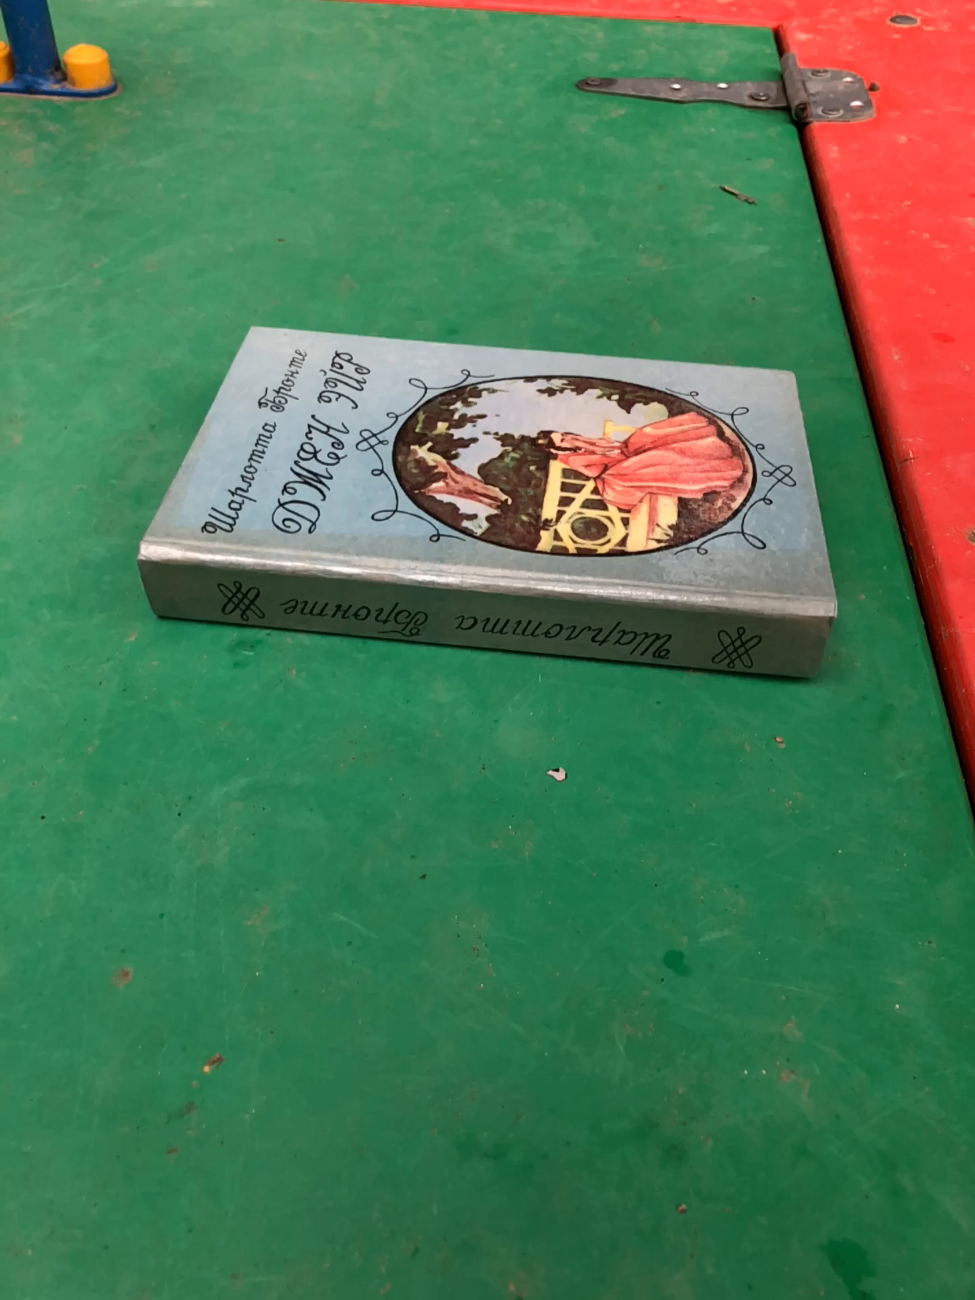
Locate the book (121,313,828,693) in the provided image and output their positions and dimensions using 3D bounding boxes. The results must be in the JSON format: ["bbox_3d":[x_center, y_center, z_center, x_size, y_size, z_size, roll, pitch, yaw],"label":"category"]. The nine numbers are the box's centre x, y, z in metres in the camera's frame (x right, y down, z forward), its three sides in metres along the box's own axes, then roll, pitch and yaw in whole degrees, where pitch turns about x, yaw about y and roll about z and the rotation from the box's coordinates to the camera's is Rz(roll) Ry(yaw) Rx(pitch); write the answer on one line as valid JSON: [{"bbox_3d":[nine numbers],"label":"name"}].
[{"bbox_3d":[0.001,-0.056,0.355,0.196,0.030,0.136,6,45,2],"label":"book"}]
